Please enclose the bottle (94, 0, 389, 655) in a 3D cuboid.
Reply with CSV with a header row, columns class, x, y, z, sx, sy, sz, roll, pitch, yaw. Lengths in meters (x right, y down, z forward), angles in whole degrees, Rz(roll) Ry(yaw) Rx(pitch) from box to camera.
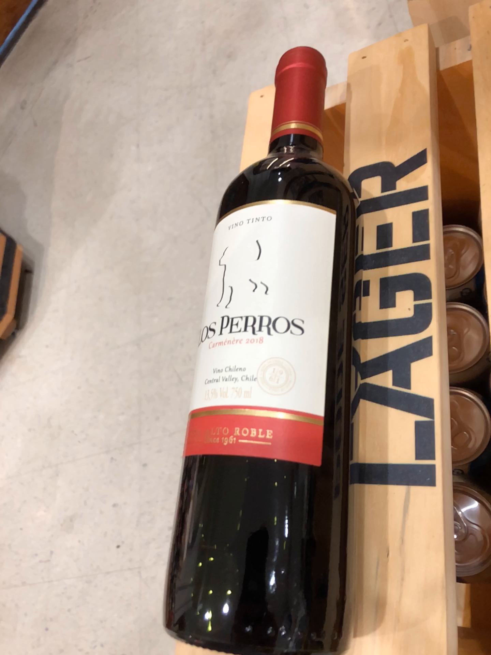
class,x,y,z,sx,sy,sz,roll,pitch,yaw
bottle,0.013,-0.021,0.253,0.090,0.060,0.310,-7,66,30
